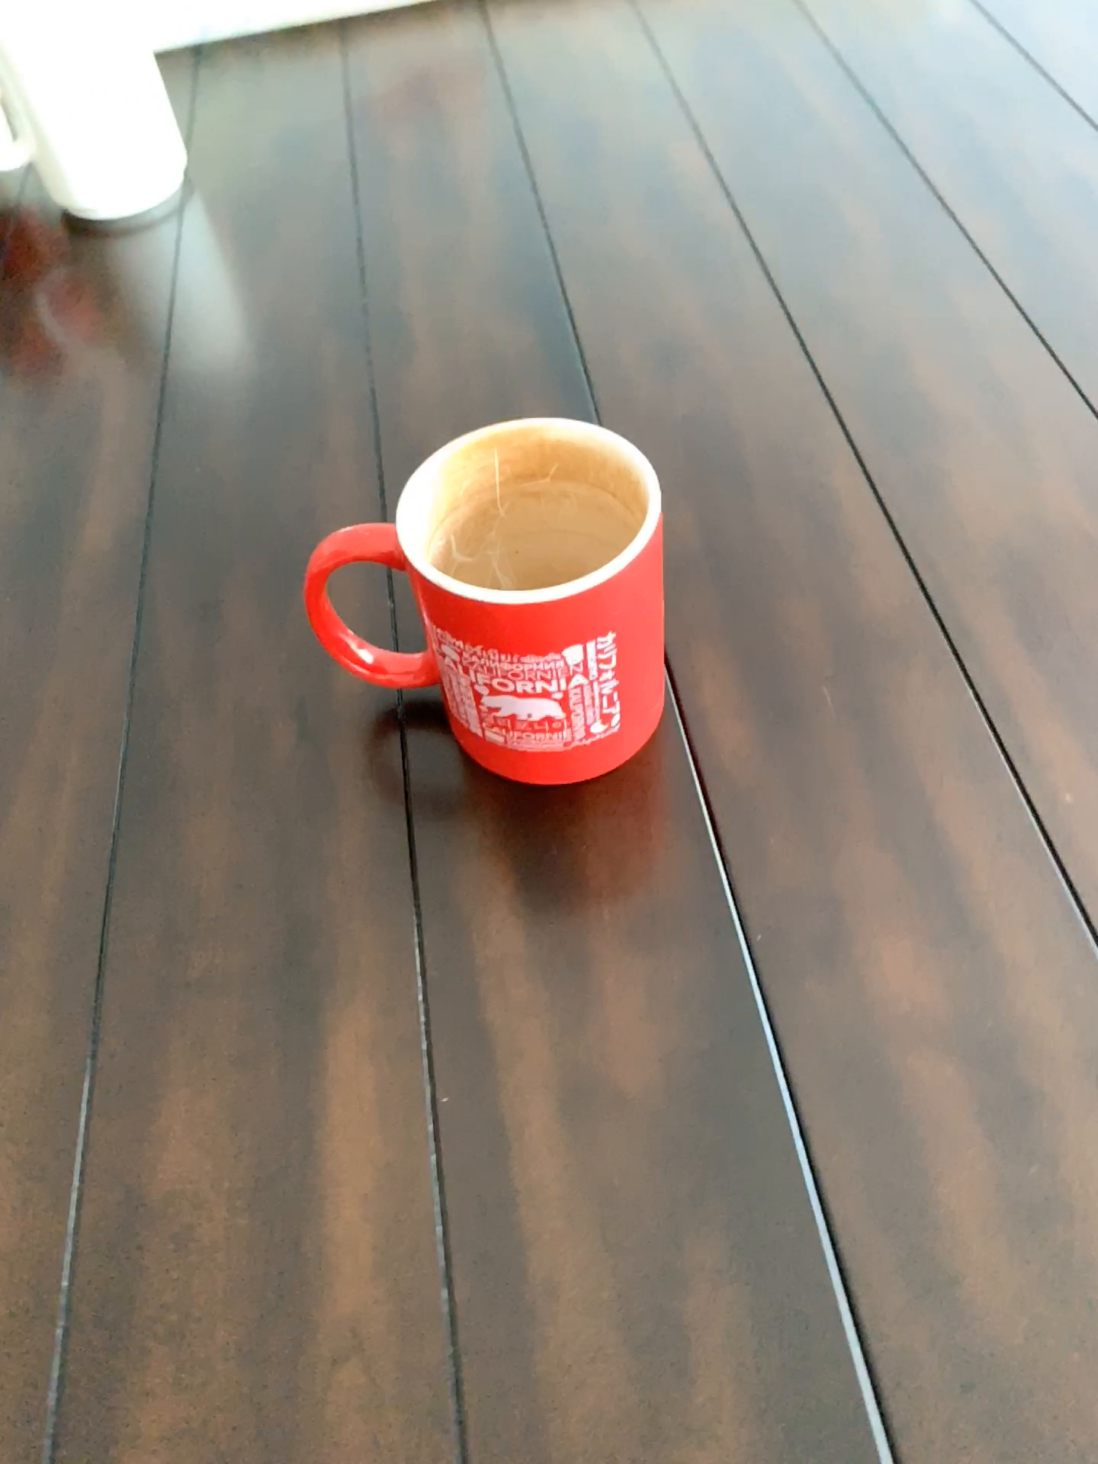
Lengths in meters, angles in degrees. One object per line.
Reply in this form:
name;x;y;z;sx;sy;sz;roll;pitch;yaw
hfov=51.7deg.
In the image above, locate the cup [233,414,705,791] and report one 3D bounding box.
cup;-0.018;-0.044;0.393;0.140;0.080;0.100;0;52;7
